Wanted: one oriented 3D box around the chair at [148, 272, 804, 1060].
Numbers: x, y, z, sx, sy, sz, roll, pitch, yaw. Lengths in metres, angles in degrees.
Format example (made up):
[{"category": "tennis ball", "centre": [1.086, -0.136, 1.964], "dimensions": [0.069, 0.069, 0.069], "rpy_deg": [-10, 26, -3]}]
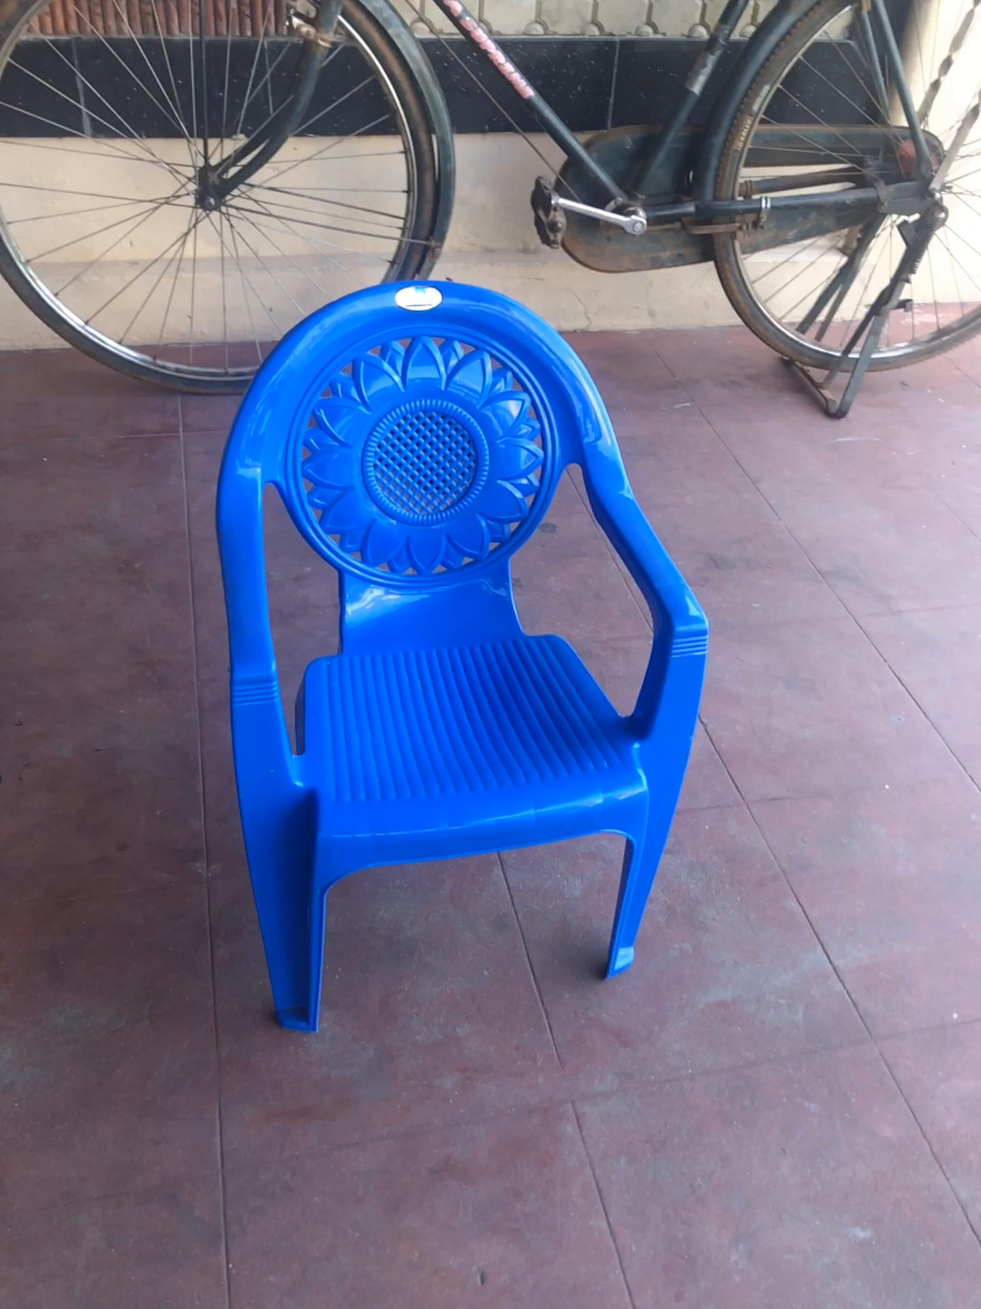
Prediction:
[{"category": "chair", "centre": [-0.058, -0.004, 0.970], "dimensions": [0.400, 0.497, 0.452], "rpy_deg": [-5, 42, -11]}]
